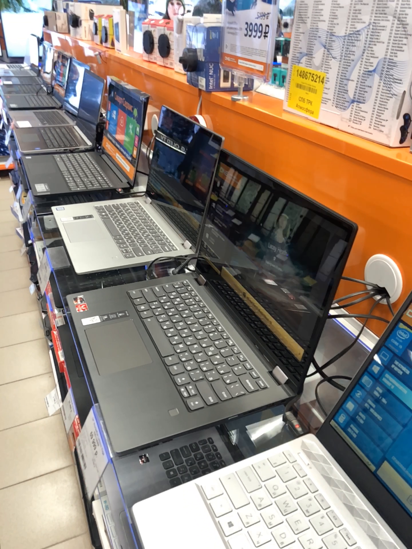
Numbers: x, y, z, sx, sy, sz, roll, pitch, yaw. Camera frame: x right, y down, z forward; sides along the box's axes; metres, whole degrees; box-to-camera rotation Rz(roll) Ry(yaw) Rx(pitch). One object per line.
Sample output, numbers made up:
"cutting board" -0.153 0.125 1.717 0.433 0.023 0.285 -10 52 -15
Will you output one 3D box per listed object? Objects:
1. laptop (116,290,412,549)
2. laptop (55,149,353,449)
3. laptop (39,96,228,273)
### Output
"laptop" 0.137 0.187 0.306 0.310 0.160 0.317 -12 32 -19
"laptop" -0.033 -0.007 0.596 0.255 0.215 0.321 -11 32 -20
"laptop" -0.151 -0.204 0.911 0.286 0.202 0.285 -15 36 -22
